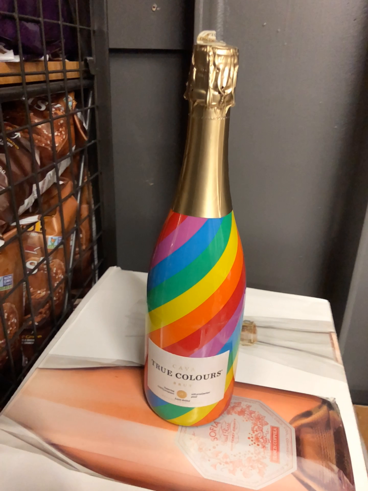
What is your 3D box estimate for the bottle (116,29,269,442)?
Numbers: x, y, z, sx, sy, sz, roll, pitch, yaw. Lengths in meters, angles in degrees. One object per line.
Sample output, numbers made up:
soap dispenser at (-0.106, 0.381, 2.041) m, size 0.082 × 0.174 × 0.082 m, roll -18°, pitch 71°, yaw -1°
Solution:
bottle at (0.008, 0.003, 0.340) m, size 0.088 × 0.319 × 0.088 m, roll 1°, pitch 24°, yaw 0°
